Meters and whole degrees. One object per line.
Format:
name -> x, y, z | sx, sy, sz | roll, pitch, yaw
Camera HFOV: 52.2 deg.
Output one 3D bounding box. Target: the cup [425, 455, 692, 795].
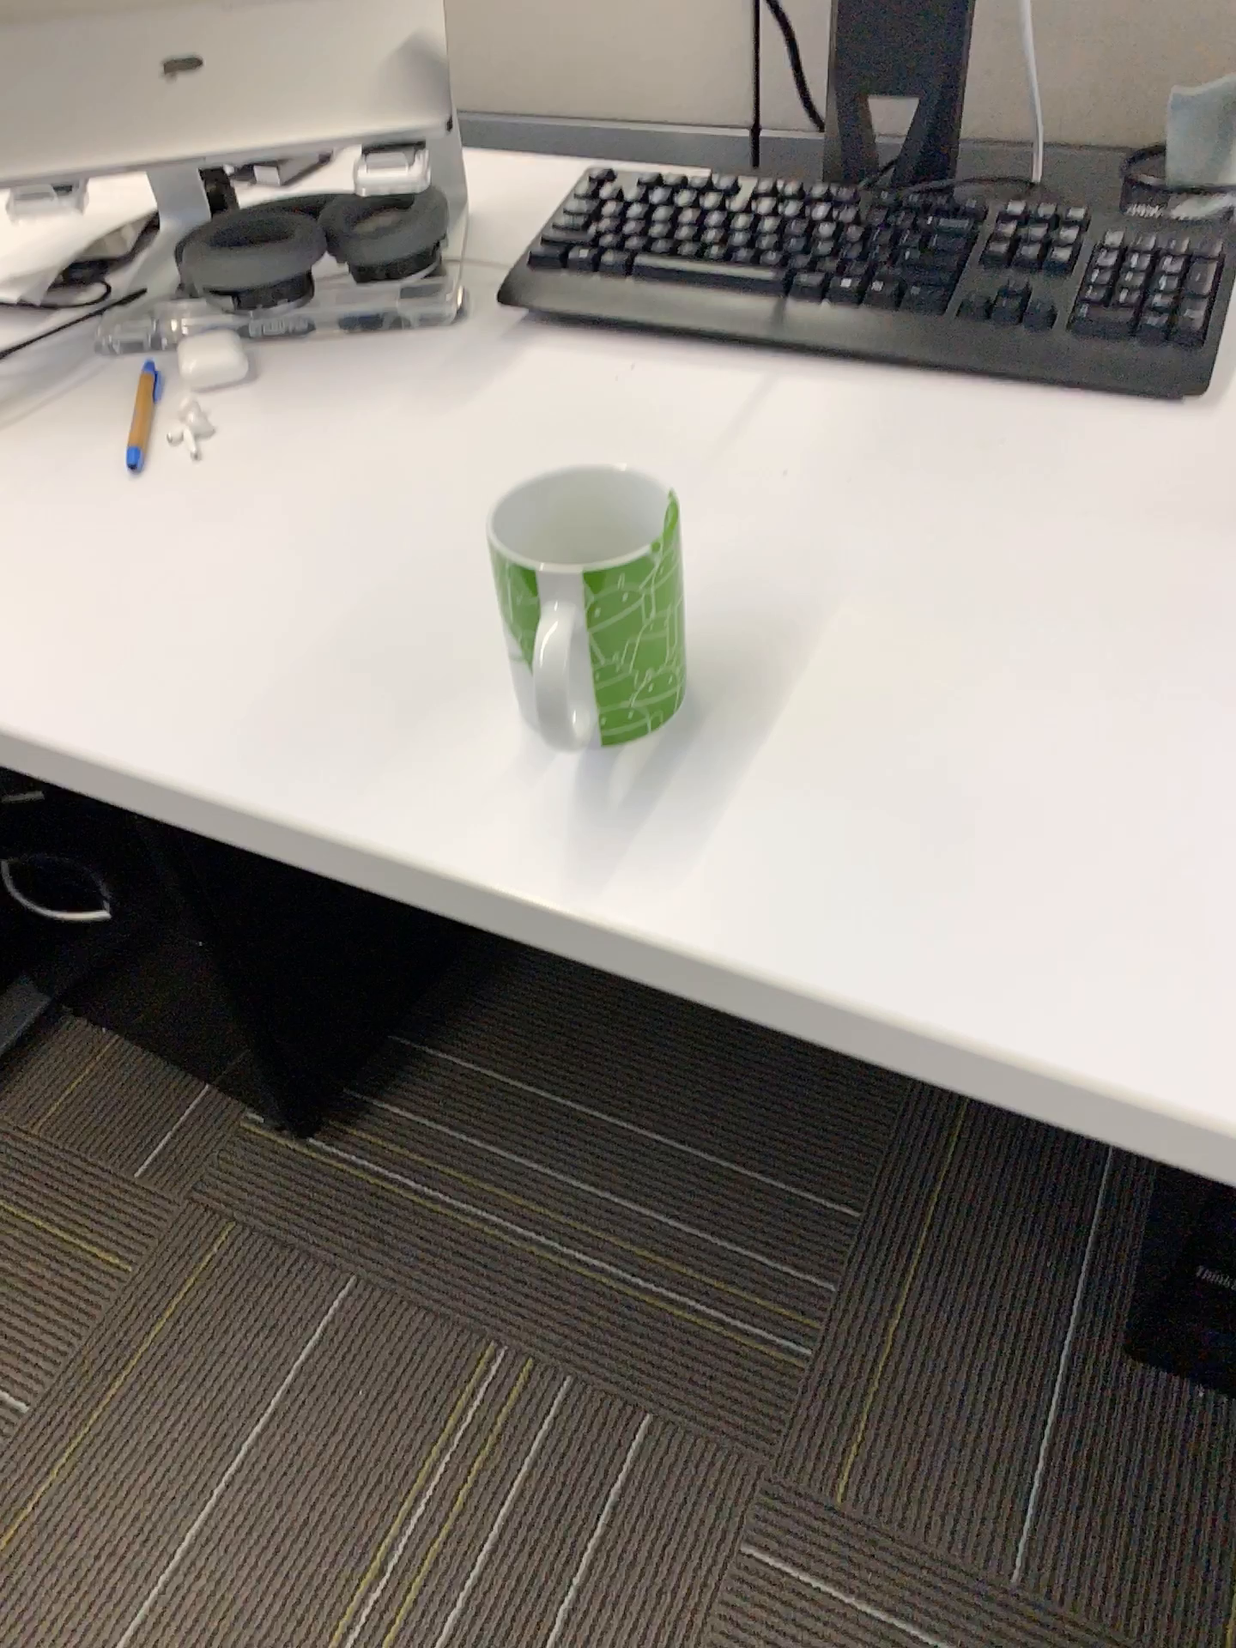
cup -> -0.018, -0.083, 0.519 | 0.090, 0.080, 0.120 | -1, 45, 6
